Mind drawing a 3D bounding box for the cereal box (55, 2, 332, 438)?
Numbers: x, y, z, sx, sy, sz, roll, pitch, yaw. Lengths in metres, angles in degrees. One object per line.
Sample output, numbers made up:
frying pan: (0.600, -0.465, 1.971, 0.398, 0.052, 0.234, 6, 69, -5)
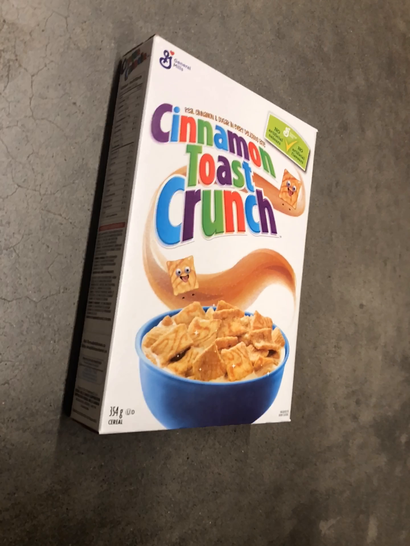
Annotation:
cereal box: (0.006, -0.026, 0.378, 0.201, 0.060, 0.290, 11, 84, -38)
